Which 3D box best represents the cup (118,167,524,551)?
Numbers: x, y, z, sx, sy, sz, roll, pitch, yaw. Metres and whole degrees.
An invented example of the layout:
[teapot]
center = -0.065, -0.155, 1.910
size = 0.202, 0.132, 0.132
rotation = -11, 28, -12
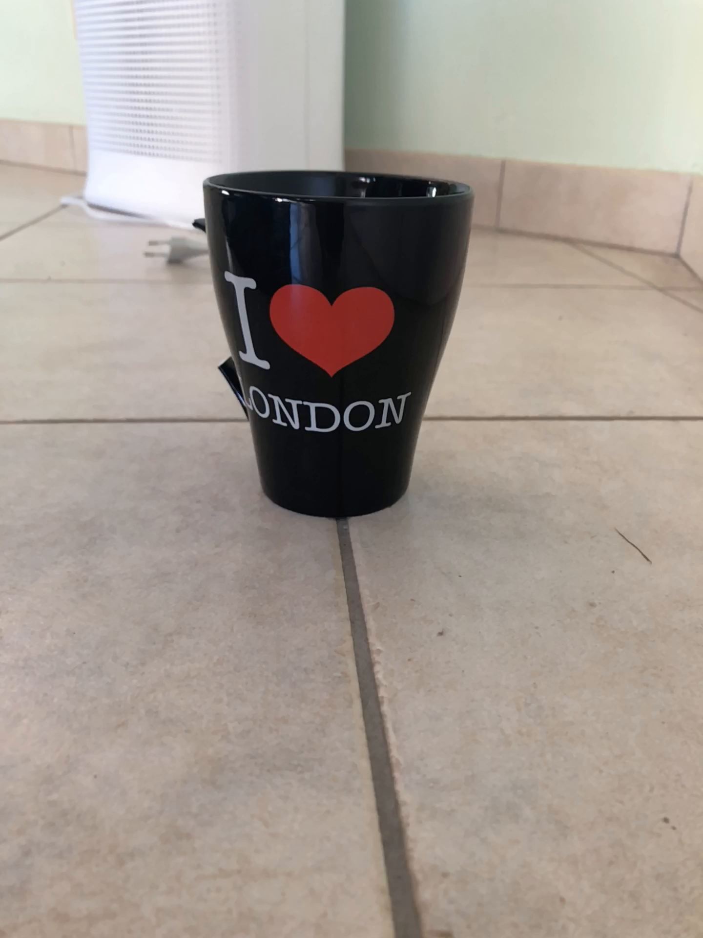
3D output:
[cup]
center = -0.004, -0.049, 0.283
size = 0.108, 0.103, 0.098
rotation = 1, 25, 0
